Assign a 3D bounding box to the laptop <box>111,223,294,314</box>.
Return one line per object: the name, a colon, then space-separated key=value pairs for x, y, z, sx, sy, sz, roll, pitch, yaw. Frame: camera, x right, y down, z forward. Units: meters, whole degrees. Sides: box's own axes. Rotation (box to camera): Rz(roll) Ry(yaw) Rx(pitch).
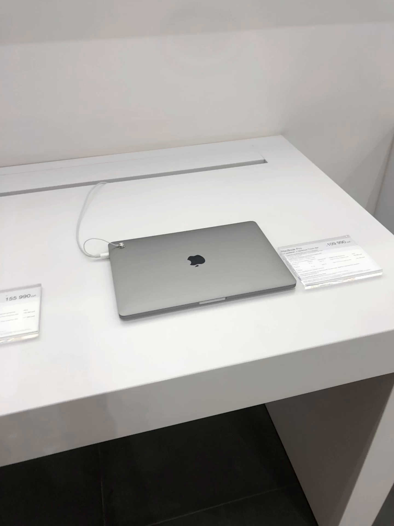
laptop: x=-0.001 y=-0.001 z=0.785 sx=0.293 sy=0.001 sz=0.199 roll=-9 pitch=38 yaw=-11
